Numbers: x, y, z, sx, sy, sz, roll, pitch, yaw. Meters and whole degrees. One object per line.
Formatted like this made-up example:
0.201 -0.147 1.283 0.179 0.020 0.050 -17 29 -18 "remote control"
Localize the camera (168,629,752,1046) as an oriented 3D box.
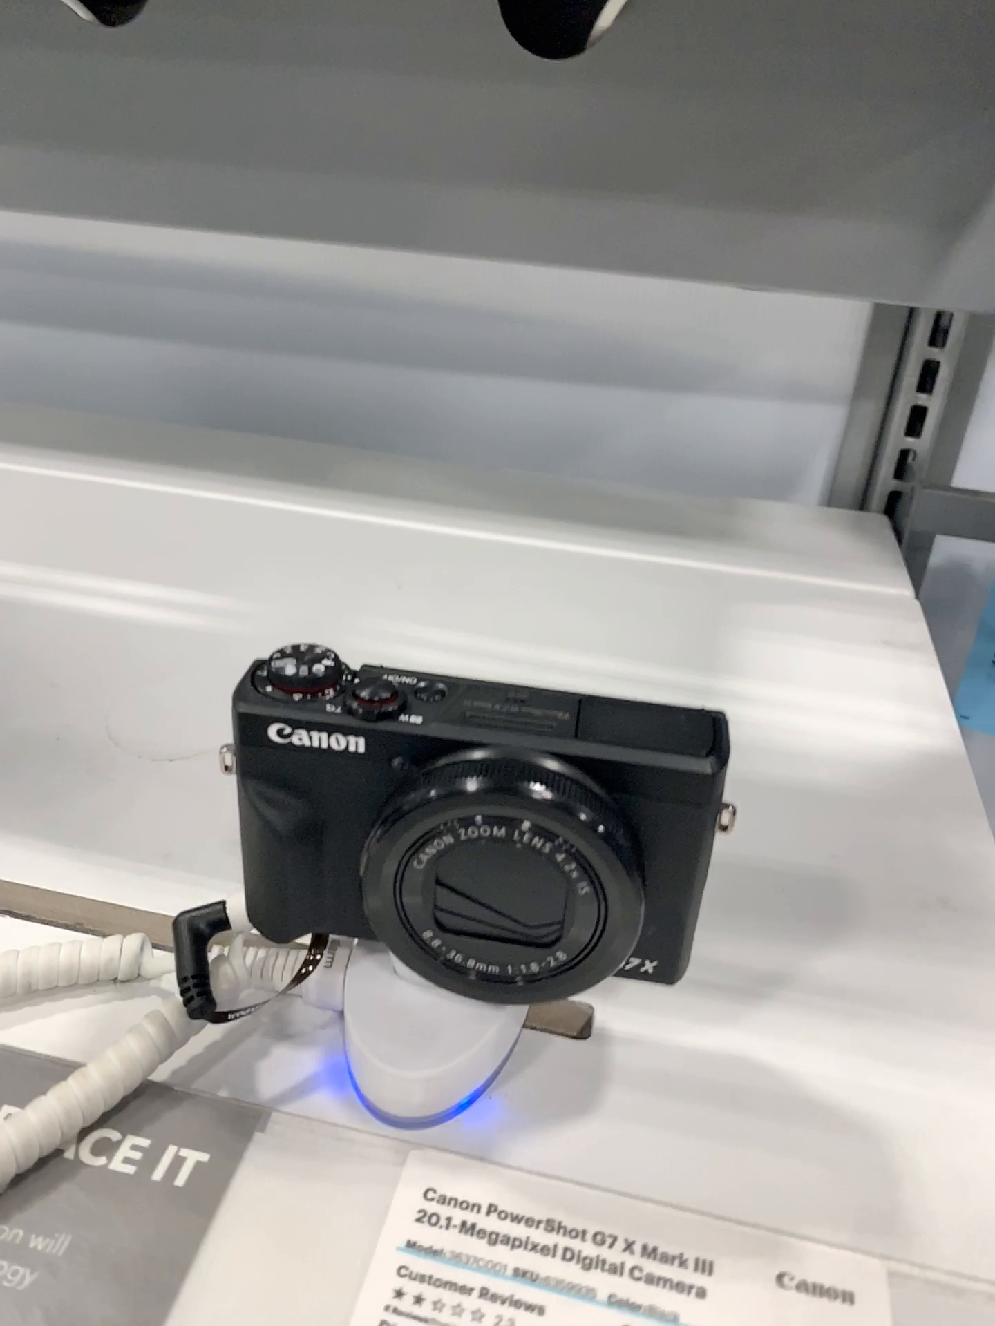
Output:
-0.008 0.036 0.223 0.110 0.062 0.040 8 29 5 "camera"
